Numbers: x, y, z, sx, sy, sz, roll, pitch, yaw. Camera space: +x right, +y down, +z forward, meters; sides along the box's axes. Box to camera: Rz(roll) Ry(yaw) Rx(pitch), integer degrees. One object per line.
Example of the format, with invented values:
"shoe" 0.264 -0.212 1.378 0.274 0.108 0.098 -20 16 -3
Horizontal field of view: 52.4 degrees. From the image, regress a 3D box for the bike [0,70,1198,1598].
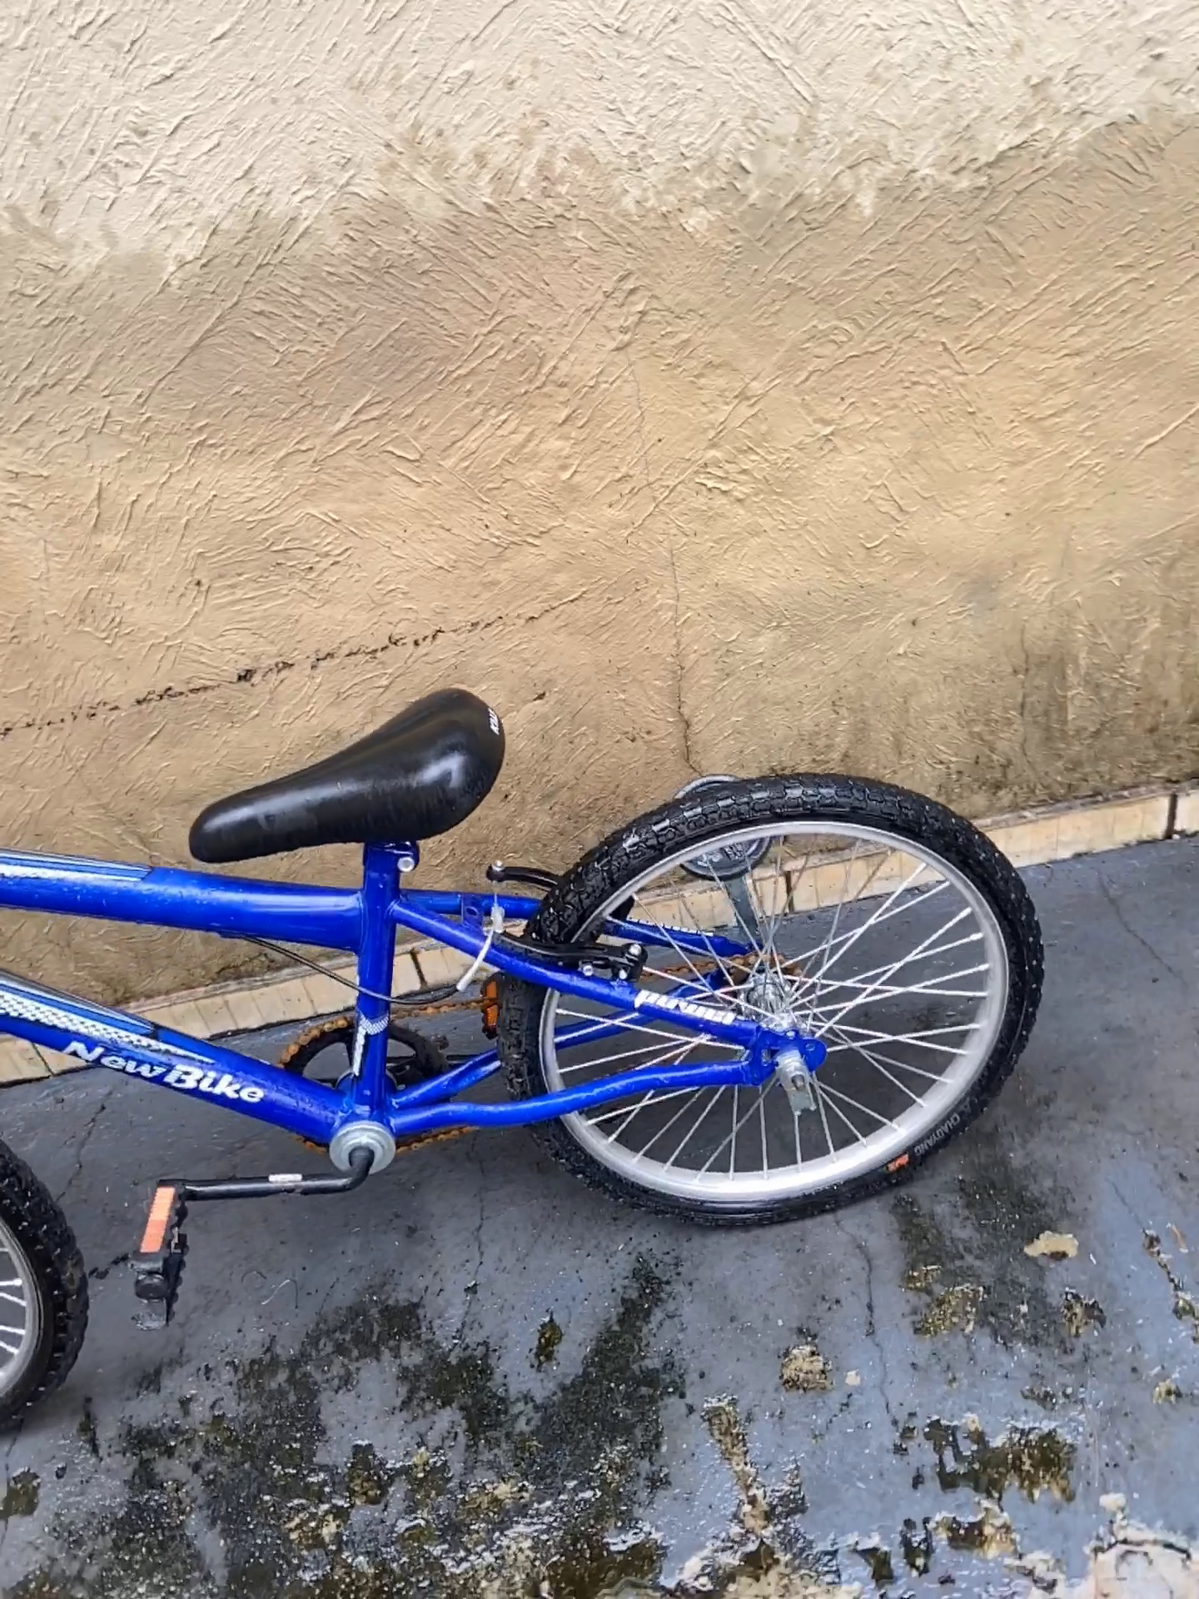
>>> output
"bike" -0.299 0.047 0.957 1.249 0.849 0.546 -11 38 -1
